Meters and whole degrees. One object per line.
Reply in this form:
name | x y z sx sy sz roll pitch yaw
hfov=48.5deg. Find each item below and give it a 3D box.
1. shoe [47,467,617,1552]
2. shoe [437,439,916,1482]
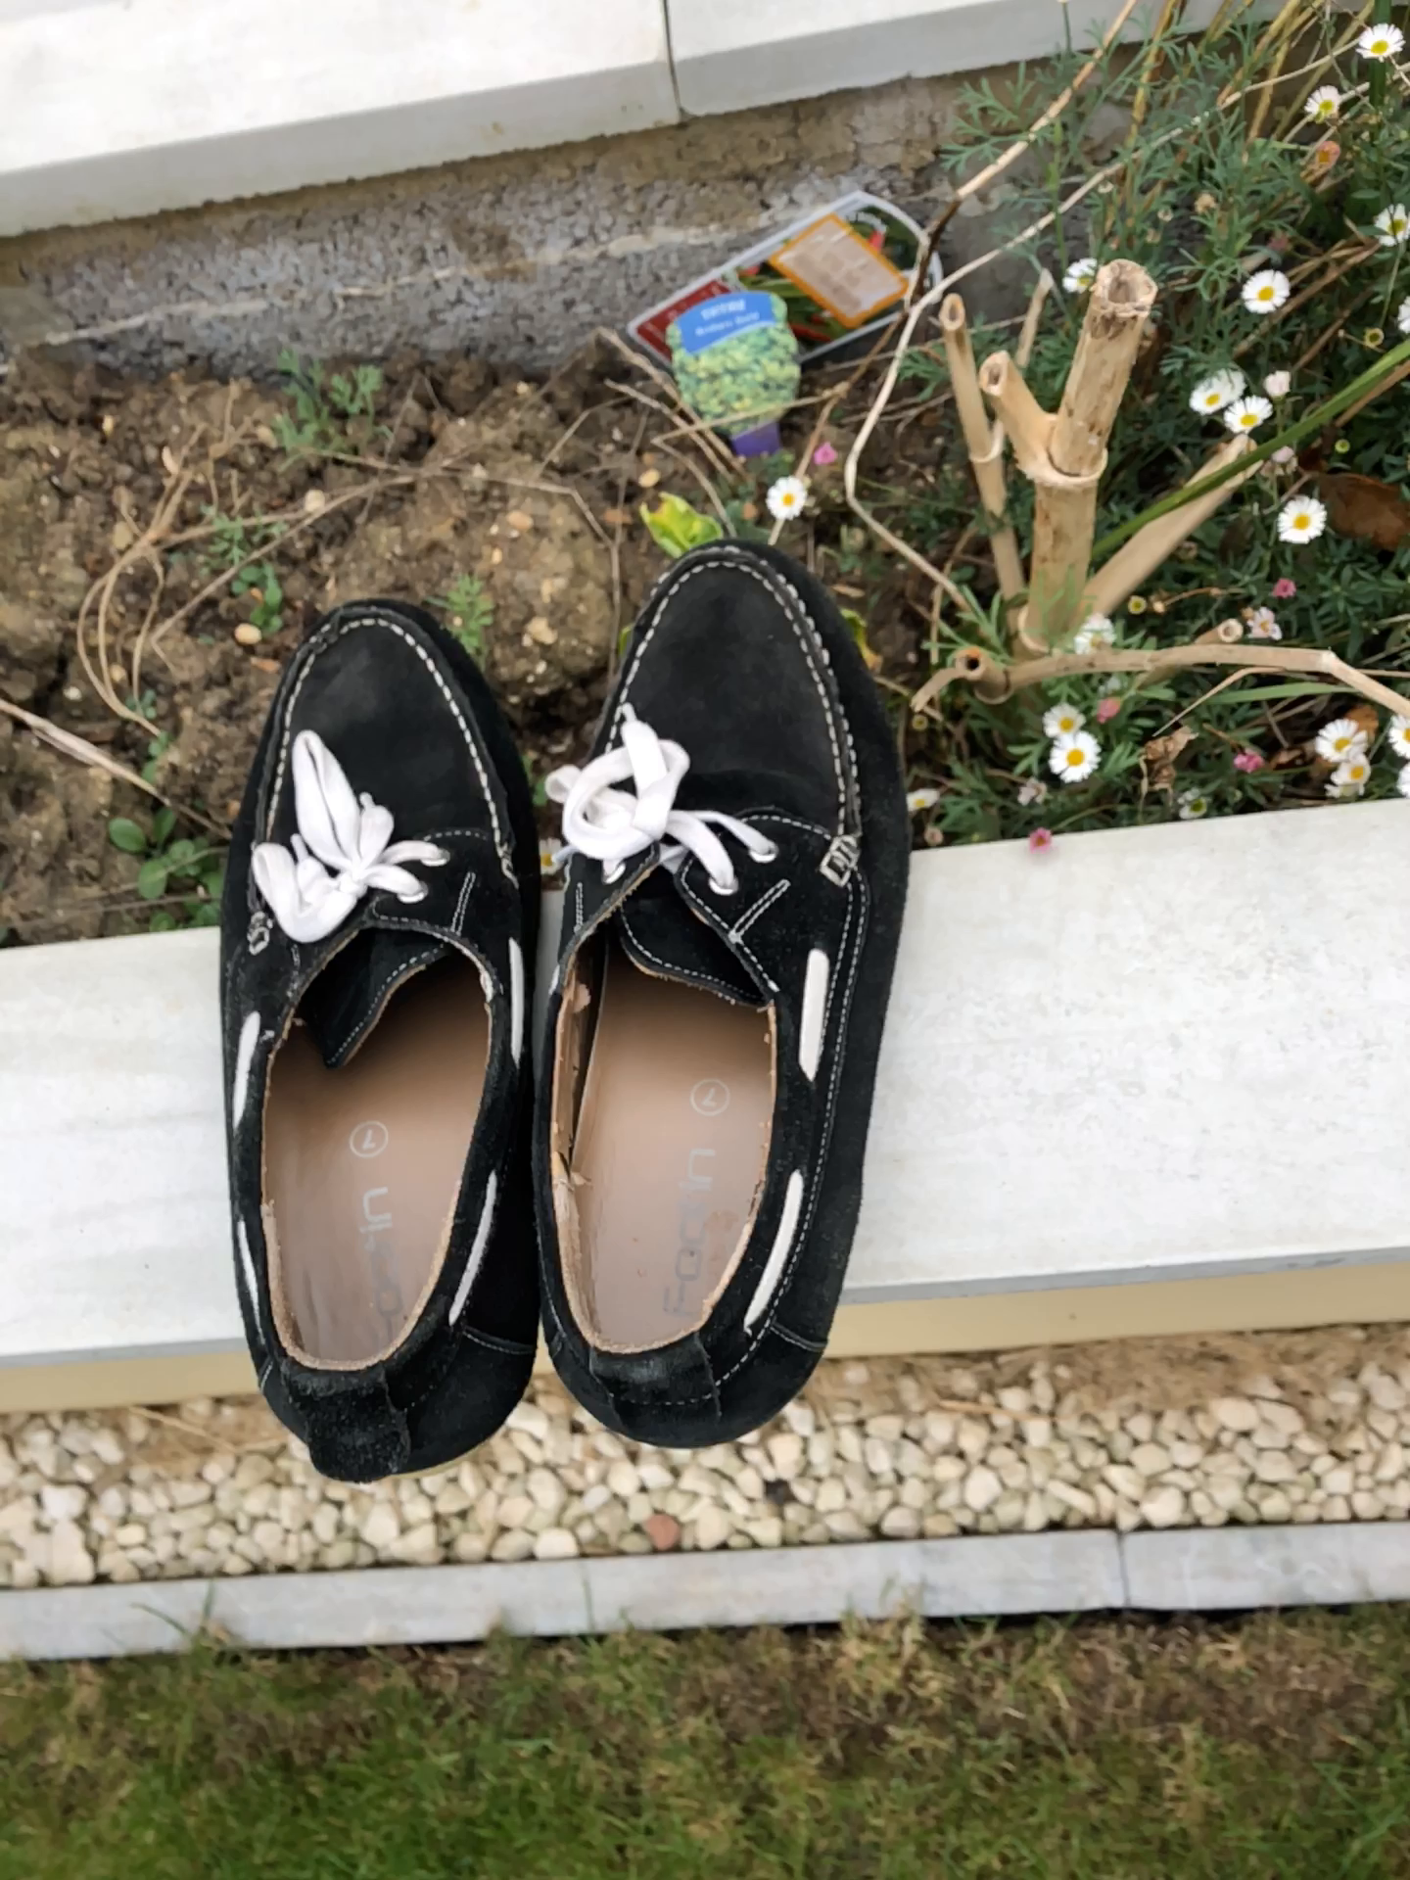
shoe | -0.112 0.010 0.484 0.120 0.090 0.311 -12 60 4
shoe | 0.005 -0.004 0.469 0.110 0.090 0.301 -1 61 8
